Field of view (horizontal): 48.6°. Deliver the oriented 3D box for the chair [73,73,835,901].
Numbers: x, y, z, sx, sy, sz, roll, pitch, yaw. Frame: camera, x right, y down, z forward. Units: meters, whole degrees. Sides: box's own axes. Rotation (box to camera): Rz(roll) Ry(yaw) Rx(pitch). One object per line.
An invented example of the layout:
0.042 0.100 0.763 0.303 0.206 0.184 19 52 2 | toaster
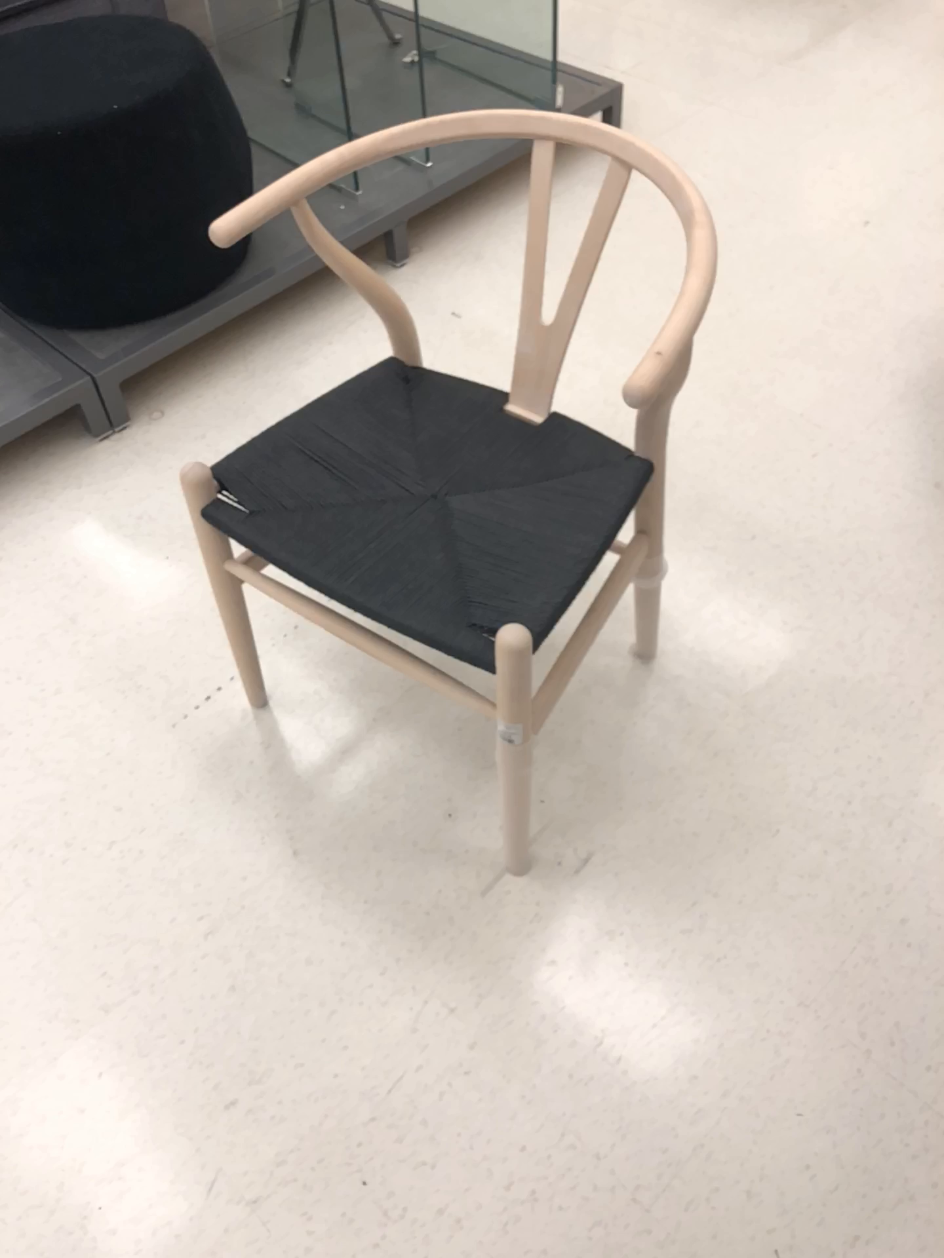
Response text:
0.007 -0.173 1.350 0.559 0.728 0.556 28 57 25 | chair
